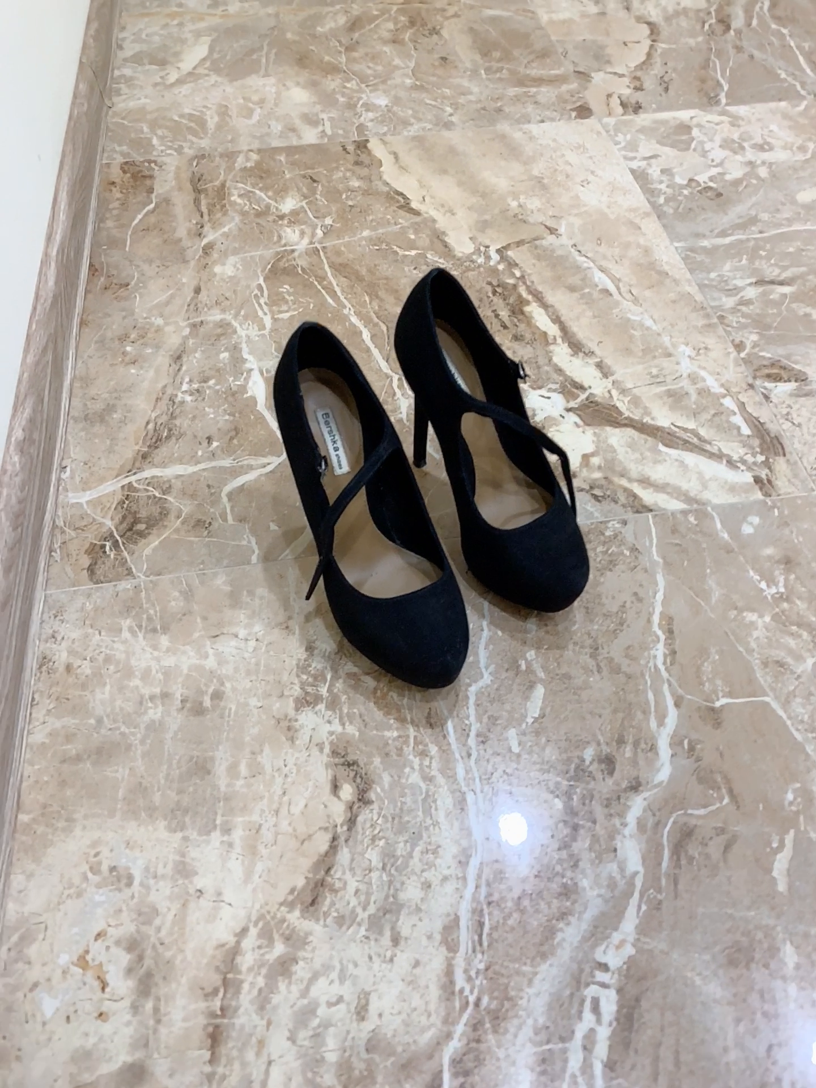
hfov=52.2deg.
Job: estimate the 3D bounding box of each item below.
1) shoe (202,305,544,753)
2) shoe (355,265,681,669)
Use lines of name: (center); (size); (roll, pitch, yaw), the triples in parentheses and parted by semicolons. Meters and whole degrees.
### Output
shoe: (-0.026, -0.010, 0.524); (0.089, 0.169, 0.211); (-28, 57, -19)
shoe: (0.058, -0.052, 0.558); (0.080, 0.159, 0.211); (-28, 57, -19)
